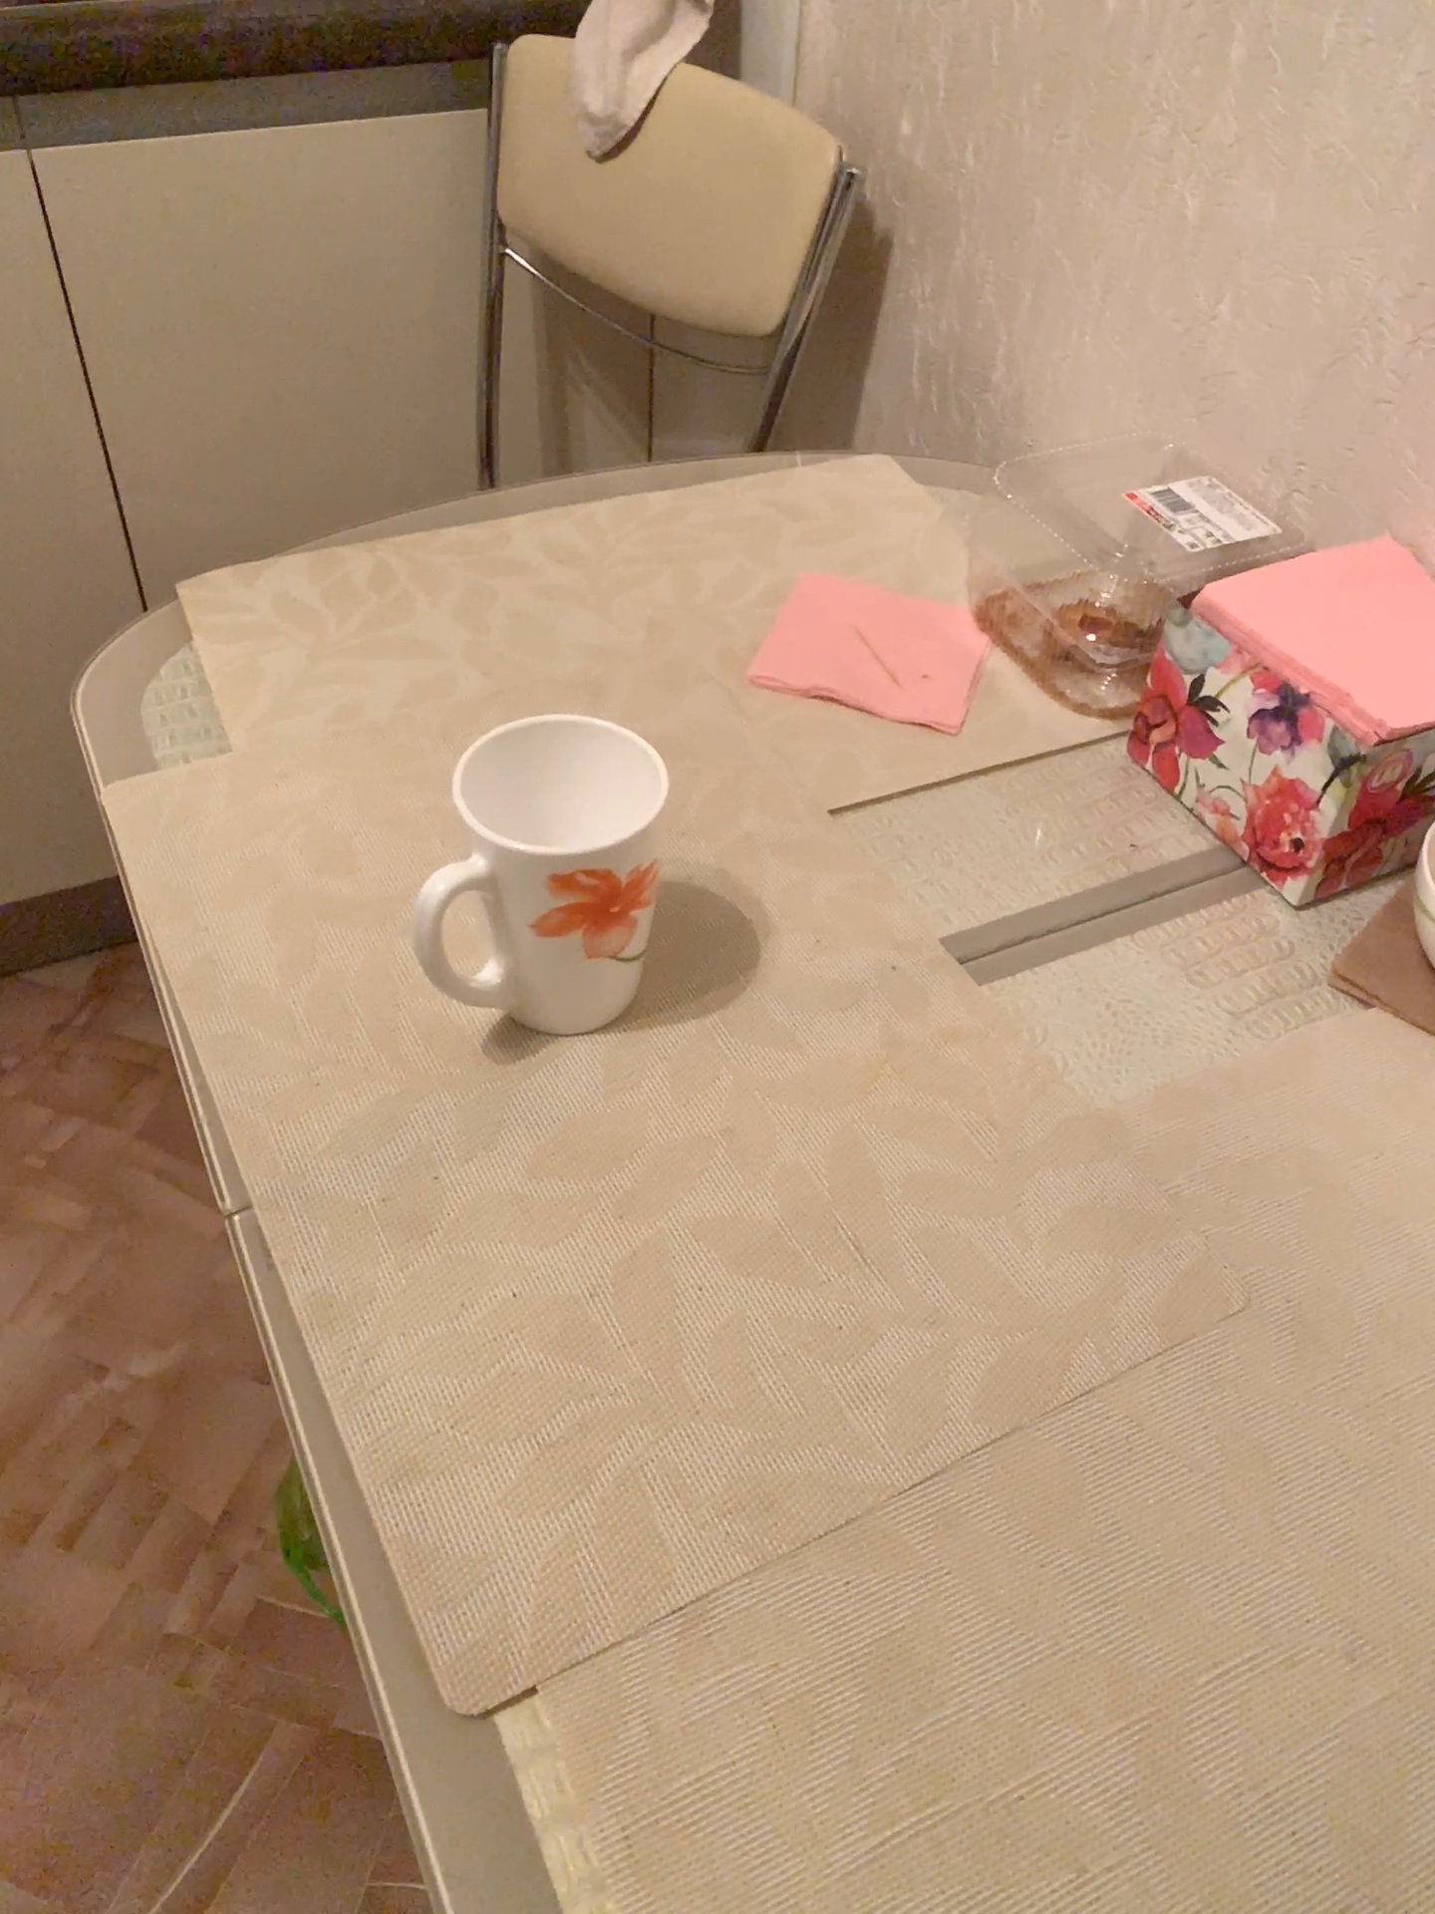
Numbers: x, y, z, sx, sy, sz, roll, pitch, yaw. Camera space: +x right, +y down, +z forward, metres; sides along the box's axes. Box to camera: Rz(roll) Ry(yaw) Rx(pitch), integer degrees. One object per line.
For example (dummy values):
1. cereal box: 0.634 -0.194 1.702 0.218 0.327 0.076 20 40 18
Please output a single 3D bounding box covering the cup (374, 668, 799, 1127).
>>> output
1. cup: -0.047 -0.025 0.554 0.121 0.099 0.090 -33 55 -31
